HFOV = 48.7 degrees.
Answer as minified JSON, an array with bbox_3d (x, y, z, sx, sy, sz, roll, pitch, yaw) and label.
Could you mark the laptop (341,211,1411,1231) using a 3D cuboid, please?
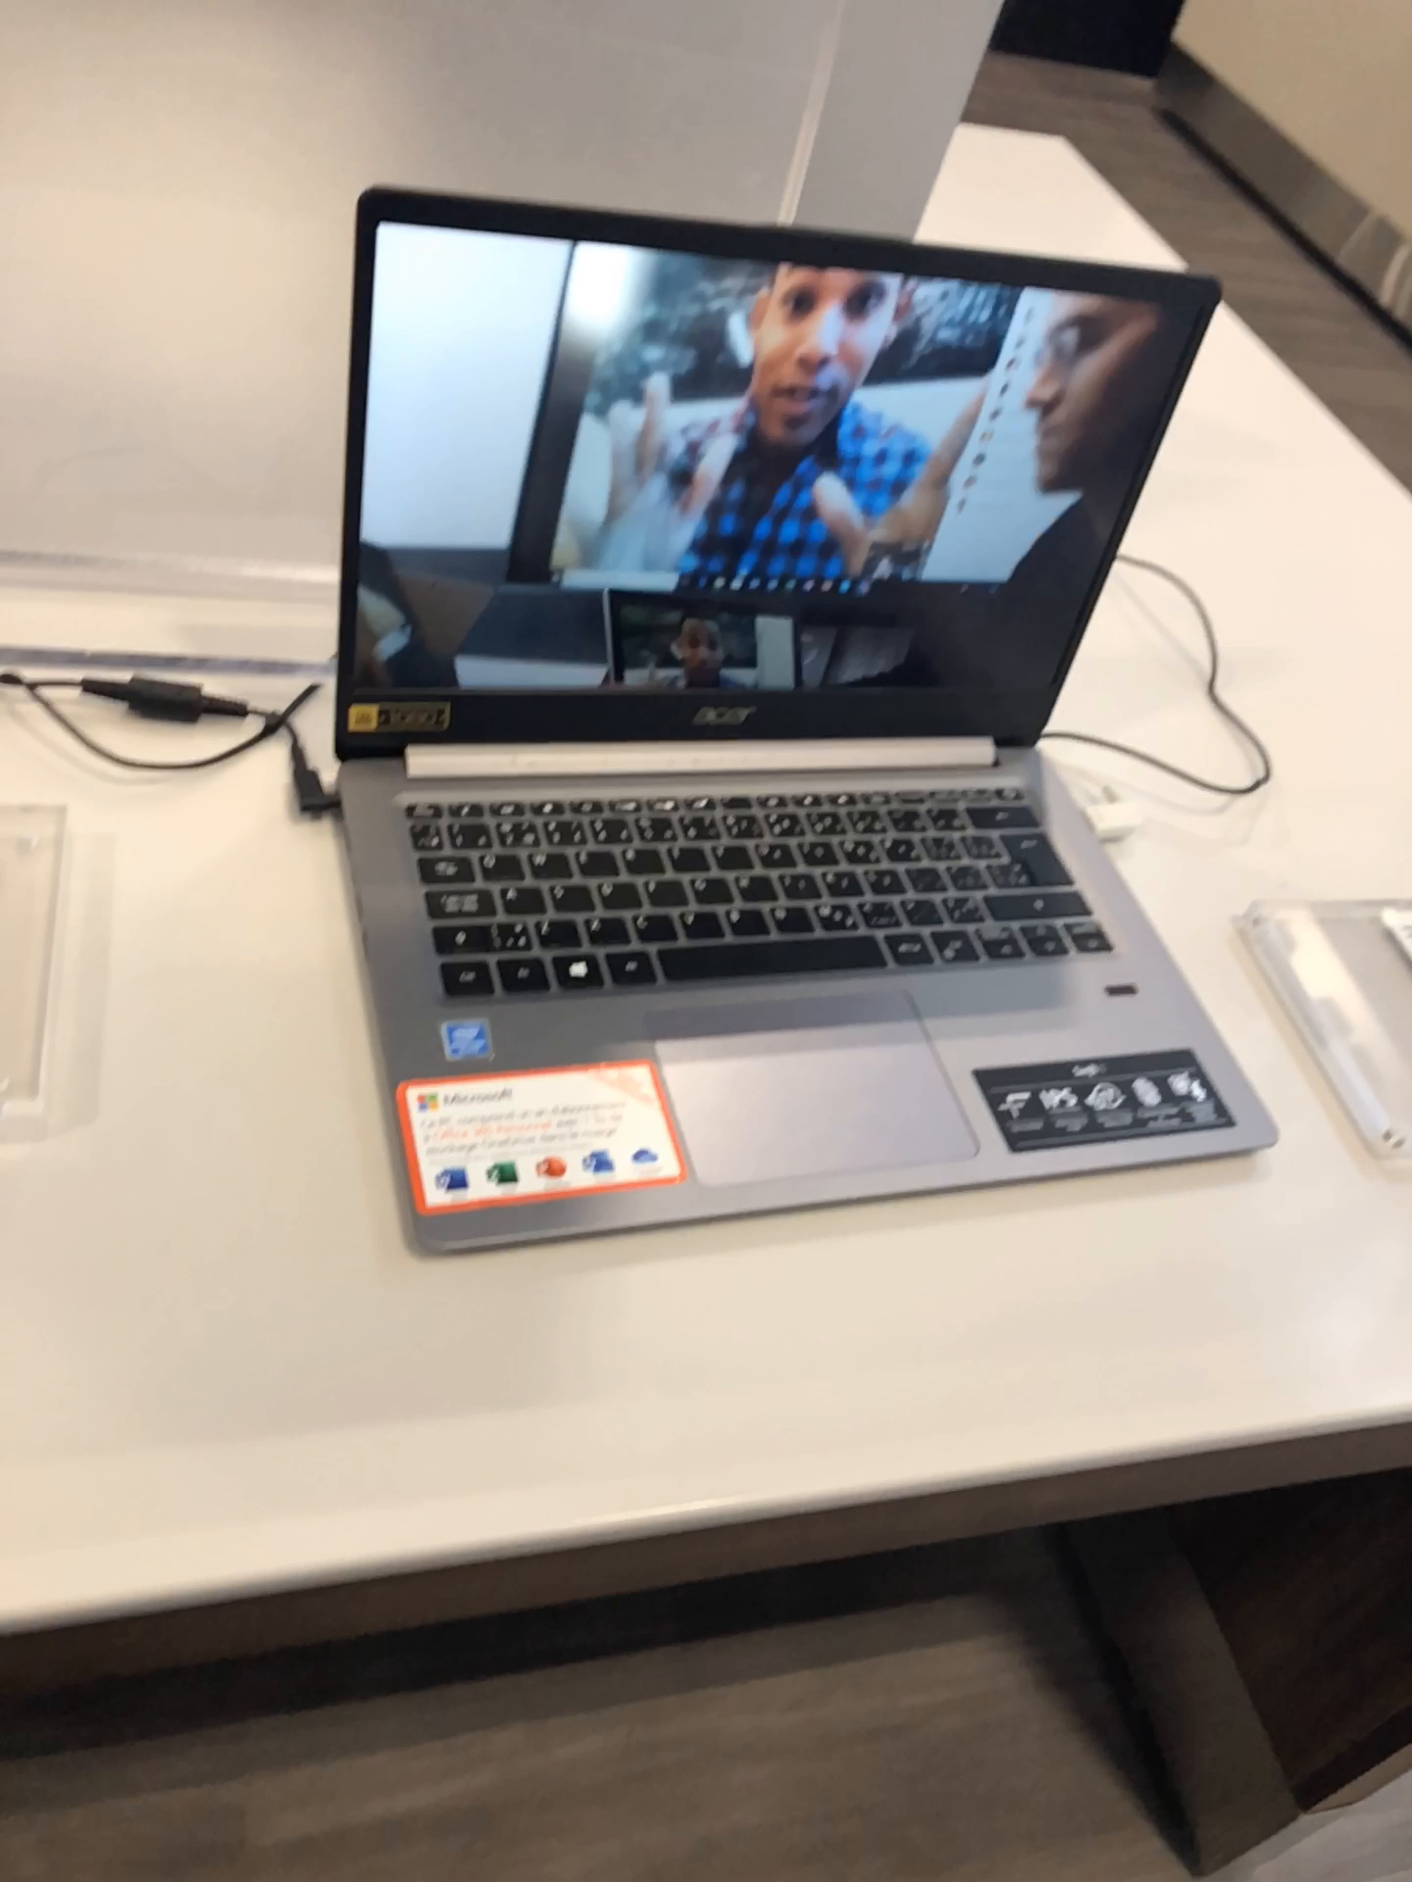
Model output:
[{"bbox_3d":[0.050,-0.076,0.520,0.306,0.205,0.225,-4,48,-21],"label":"laptop"}]
